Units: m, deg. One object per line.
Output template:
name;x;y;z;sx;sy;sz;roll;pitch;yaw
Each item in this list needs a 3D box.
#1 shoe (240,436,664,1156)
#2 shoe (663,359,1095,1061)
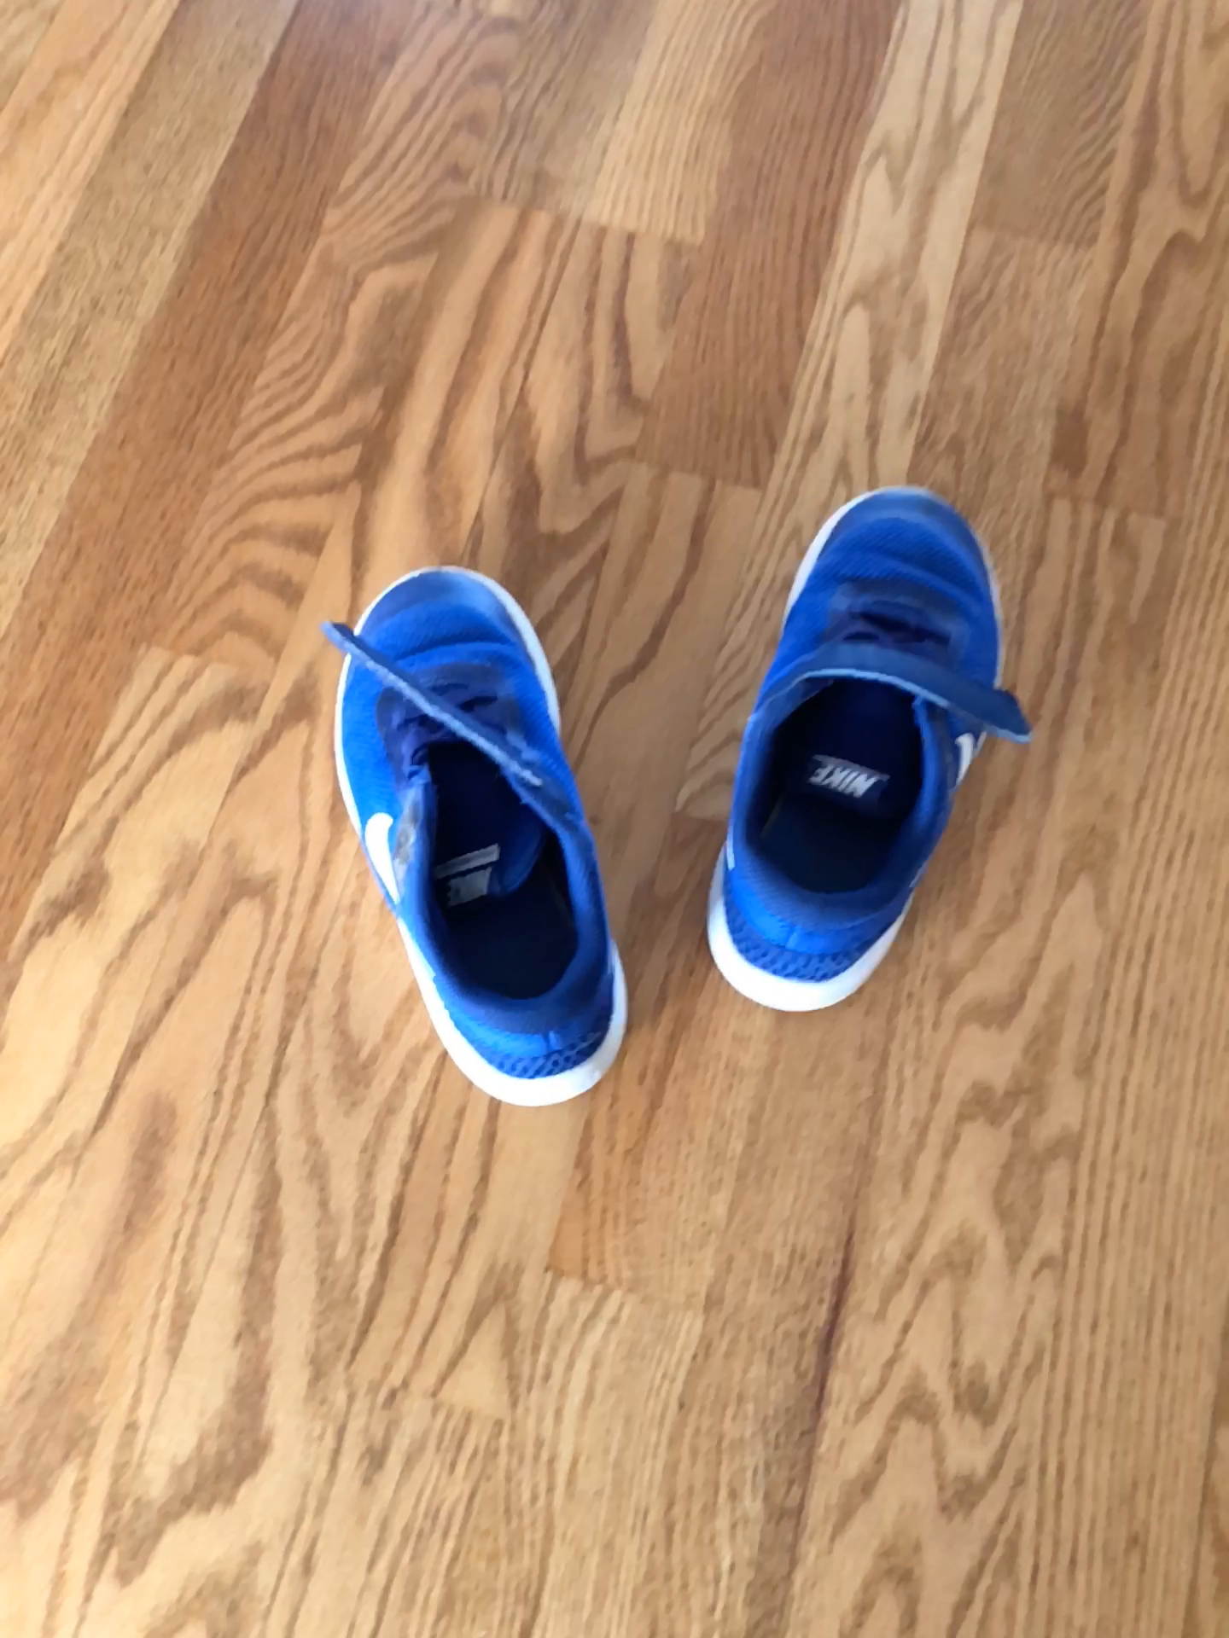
shoe;-0.055;-0.006;0.465;0.093;0.092;0.214;-13;71;-3
shoe;0.092;-0.038;0.480;0.093;0.092;0.214;15;72;6
